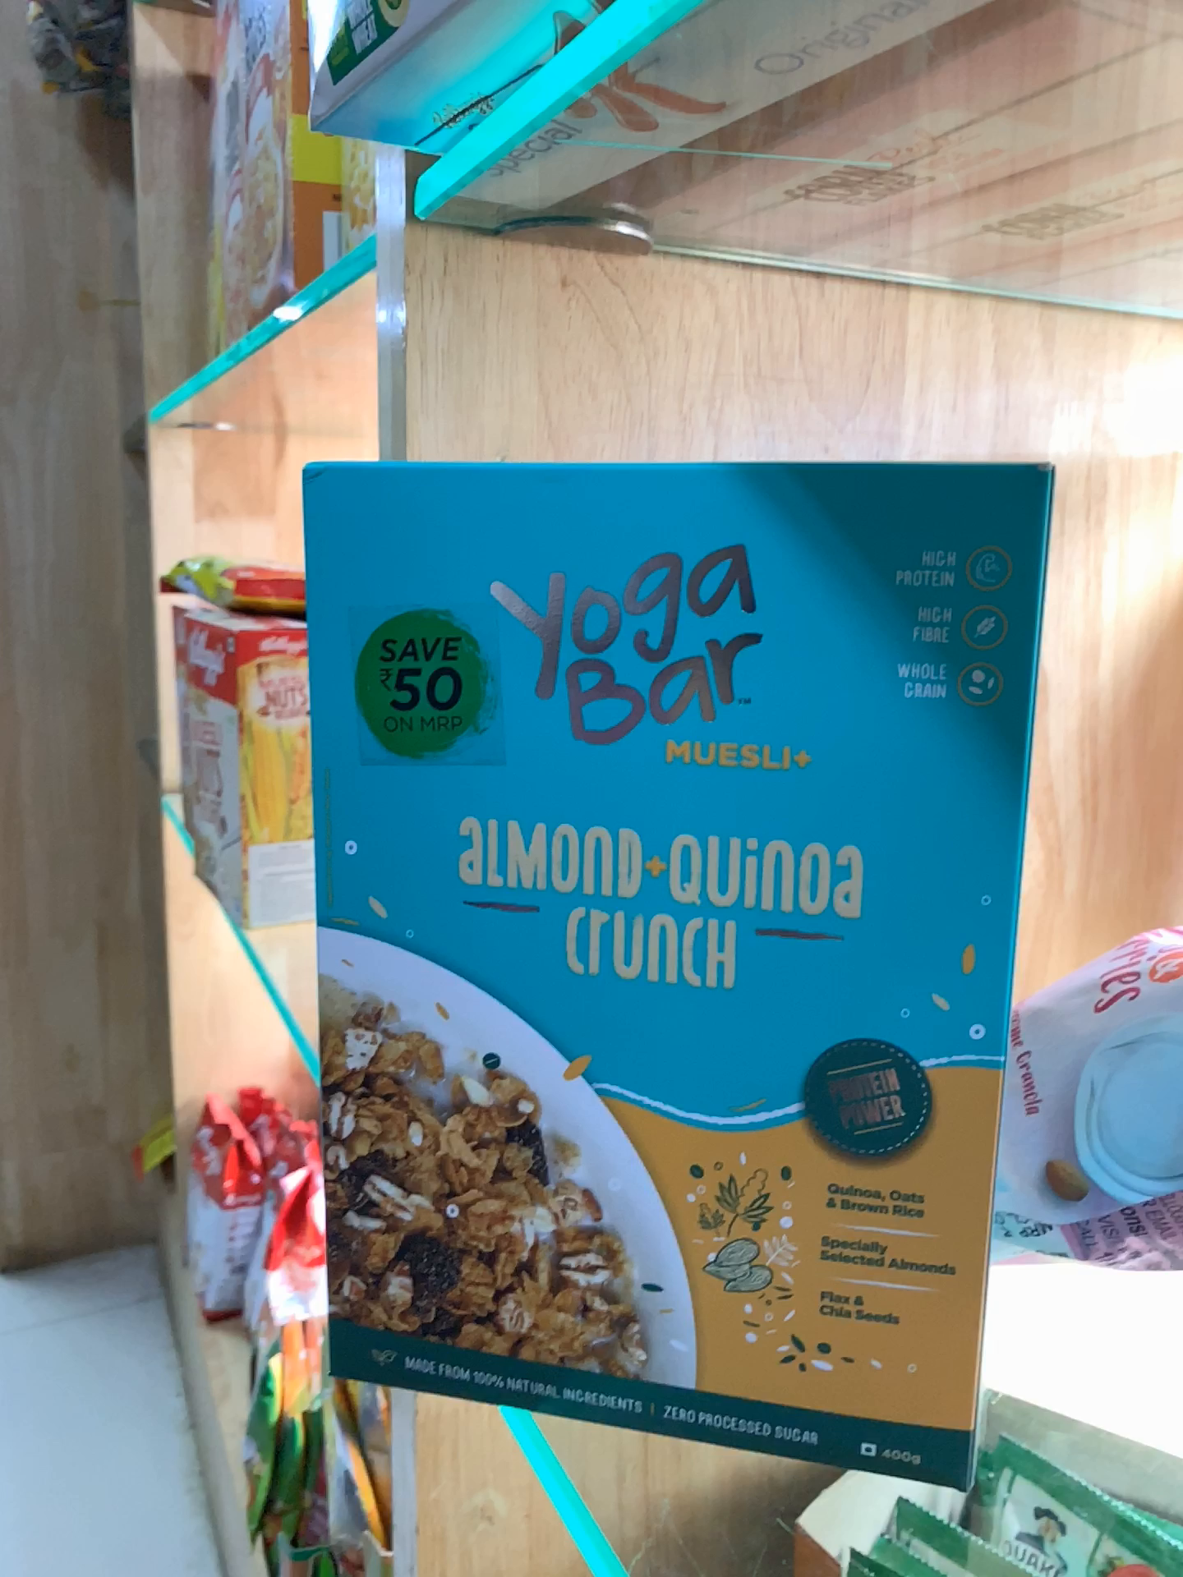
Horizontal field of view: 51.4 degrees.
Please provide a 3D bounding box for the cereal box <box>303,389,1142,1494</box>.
[{"bbox_3d":[0.023,0.027,0.281,0.160,0.219,0.060,4,10,12],"label":"cereal box"}]
